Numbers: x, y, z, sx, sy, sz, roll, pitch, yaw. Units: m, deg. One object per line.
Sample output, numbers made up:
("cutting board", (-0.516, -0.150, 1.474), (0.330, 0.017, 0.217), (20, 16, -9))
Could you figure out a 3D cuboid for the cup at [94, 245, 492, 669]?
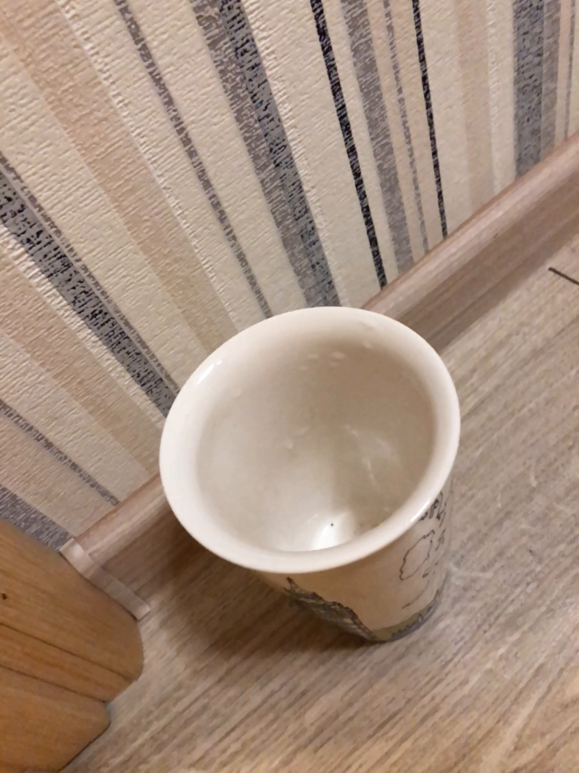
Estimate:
("cup", (0.018, 0.031, 0.253), (0.095, 0.133, 0.097), (-9, 54, 13))
